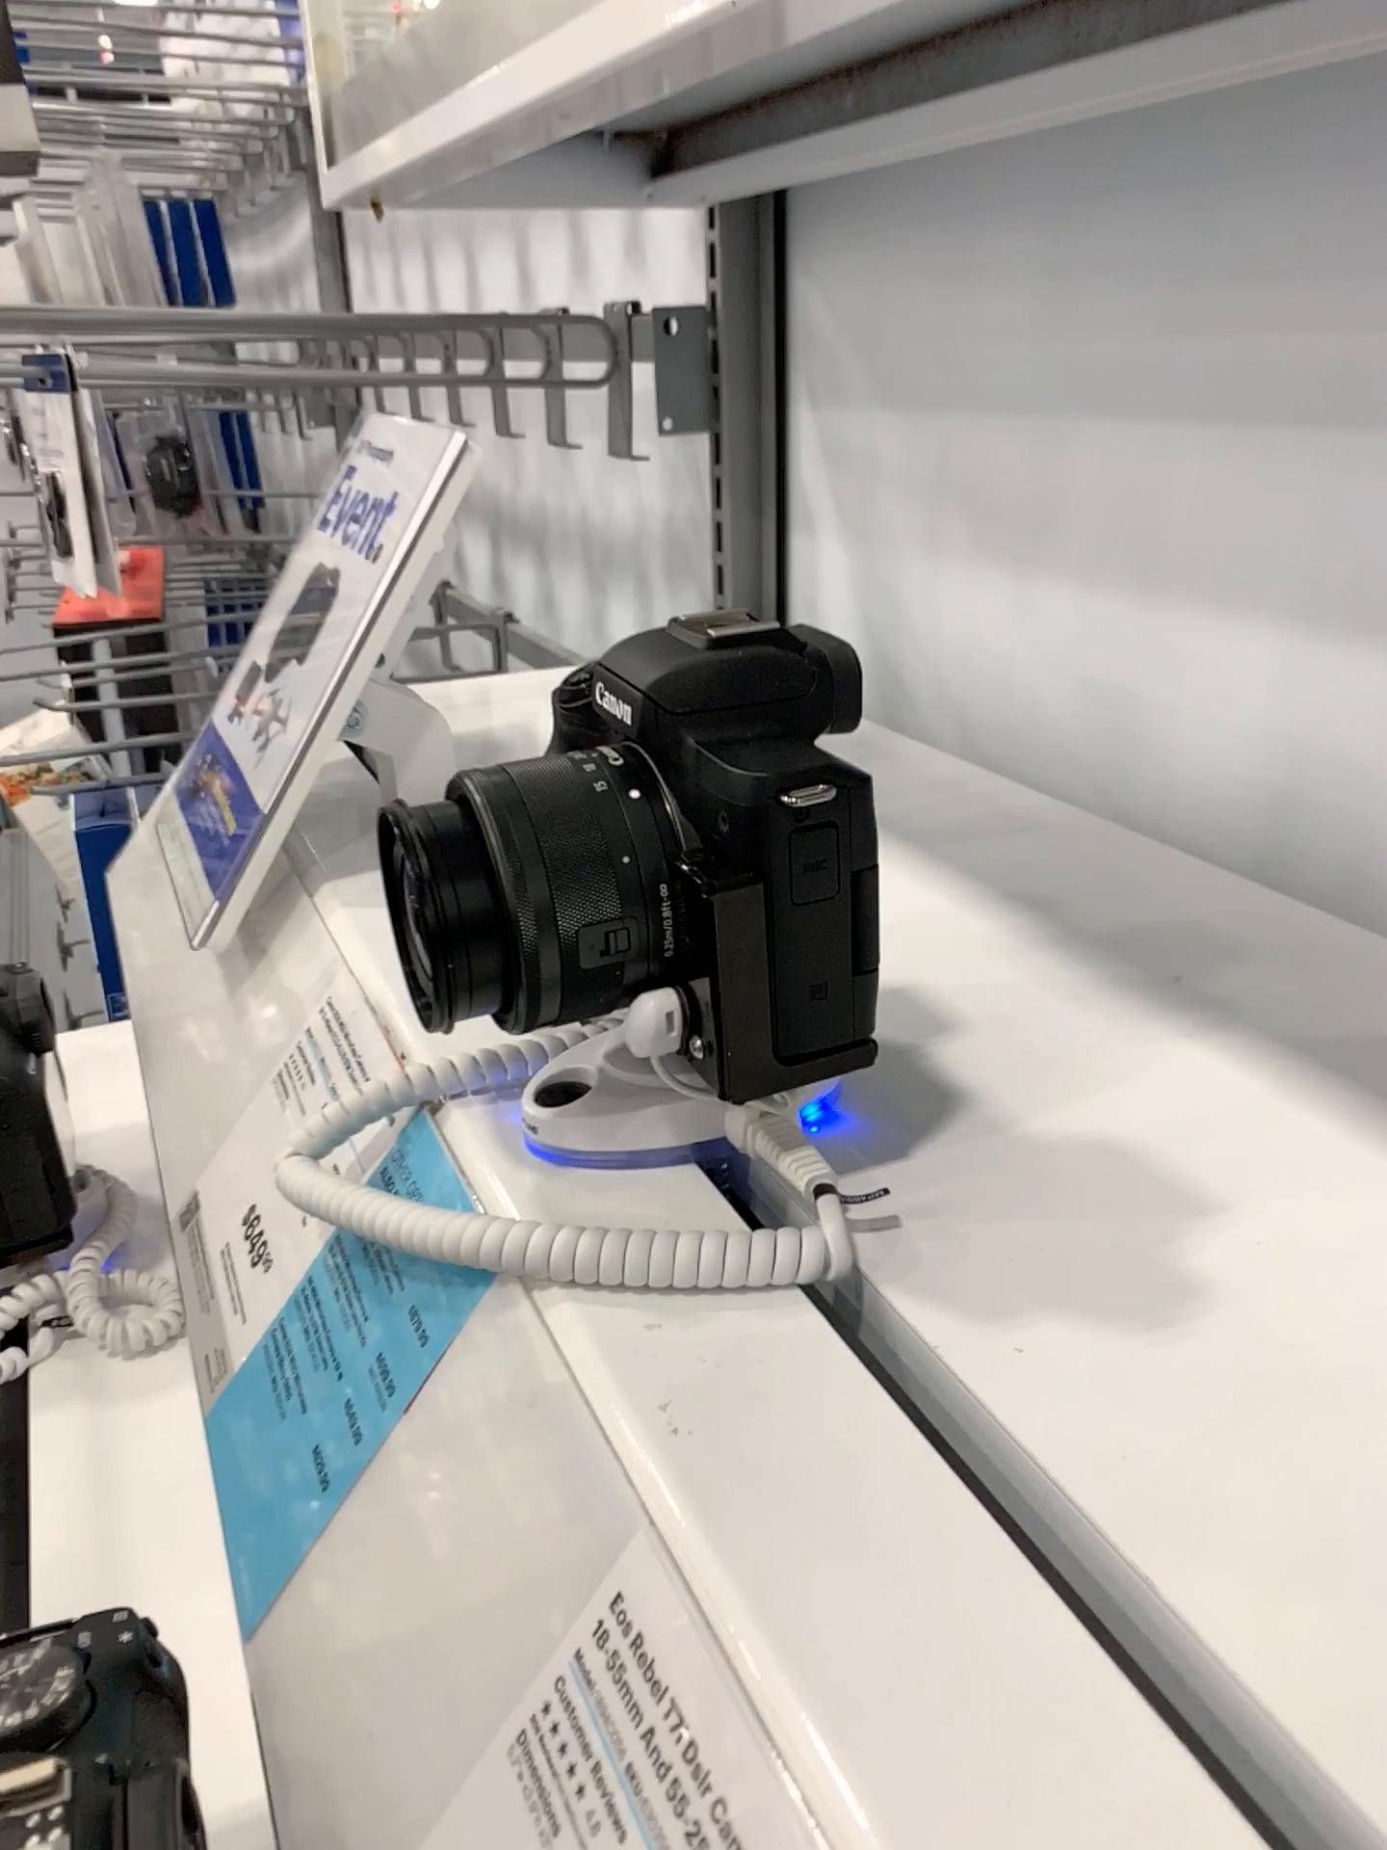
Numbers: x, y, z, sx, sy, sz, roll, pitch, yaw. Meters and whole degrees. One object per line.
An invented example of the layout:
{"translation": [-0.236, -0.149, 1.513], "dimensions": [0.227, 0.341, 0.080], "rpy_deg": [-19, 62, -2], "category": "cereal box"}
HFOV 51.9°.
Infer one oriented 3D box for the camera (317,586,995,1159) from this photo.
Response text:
{"translation": [-0.016, -0.024, 0.330], "dimensions": [0.110, 0.080, 0.131], "rpy_deg": [-10, 24, -21], "category": "camera"}
